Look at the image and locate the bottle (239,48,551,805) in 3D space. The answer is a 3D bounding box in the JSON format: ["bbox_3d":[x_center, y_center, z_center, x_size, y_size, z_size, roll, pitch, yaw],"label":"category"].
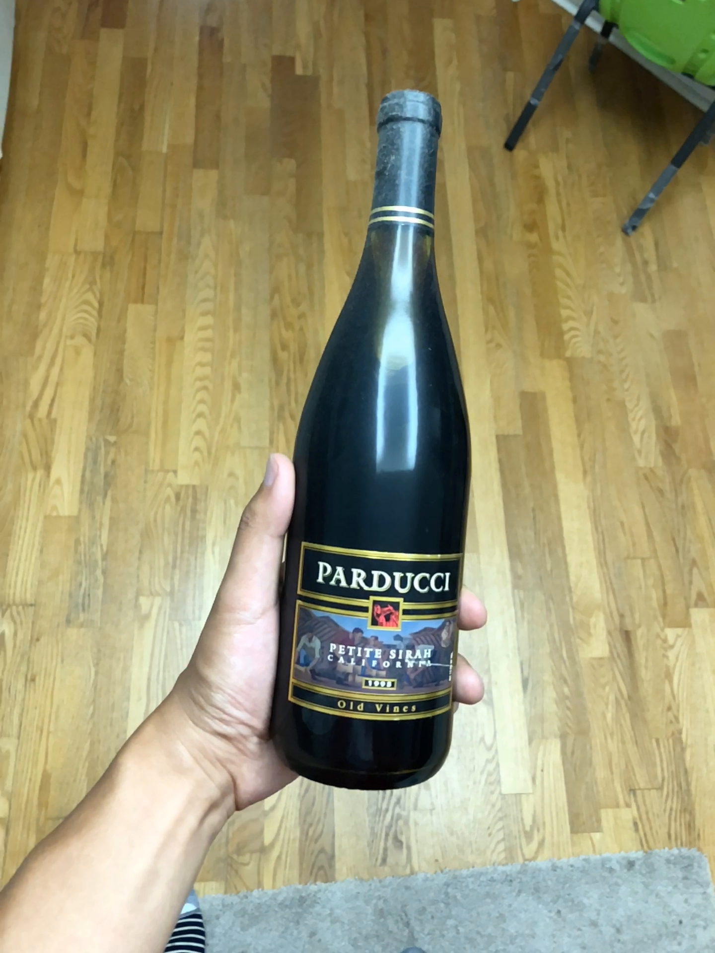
[{"bbox_3d":[0.009,-0.014,0.334,0.090,0.070,0.280,5,95,-7],"label":"bottle"}]
